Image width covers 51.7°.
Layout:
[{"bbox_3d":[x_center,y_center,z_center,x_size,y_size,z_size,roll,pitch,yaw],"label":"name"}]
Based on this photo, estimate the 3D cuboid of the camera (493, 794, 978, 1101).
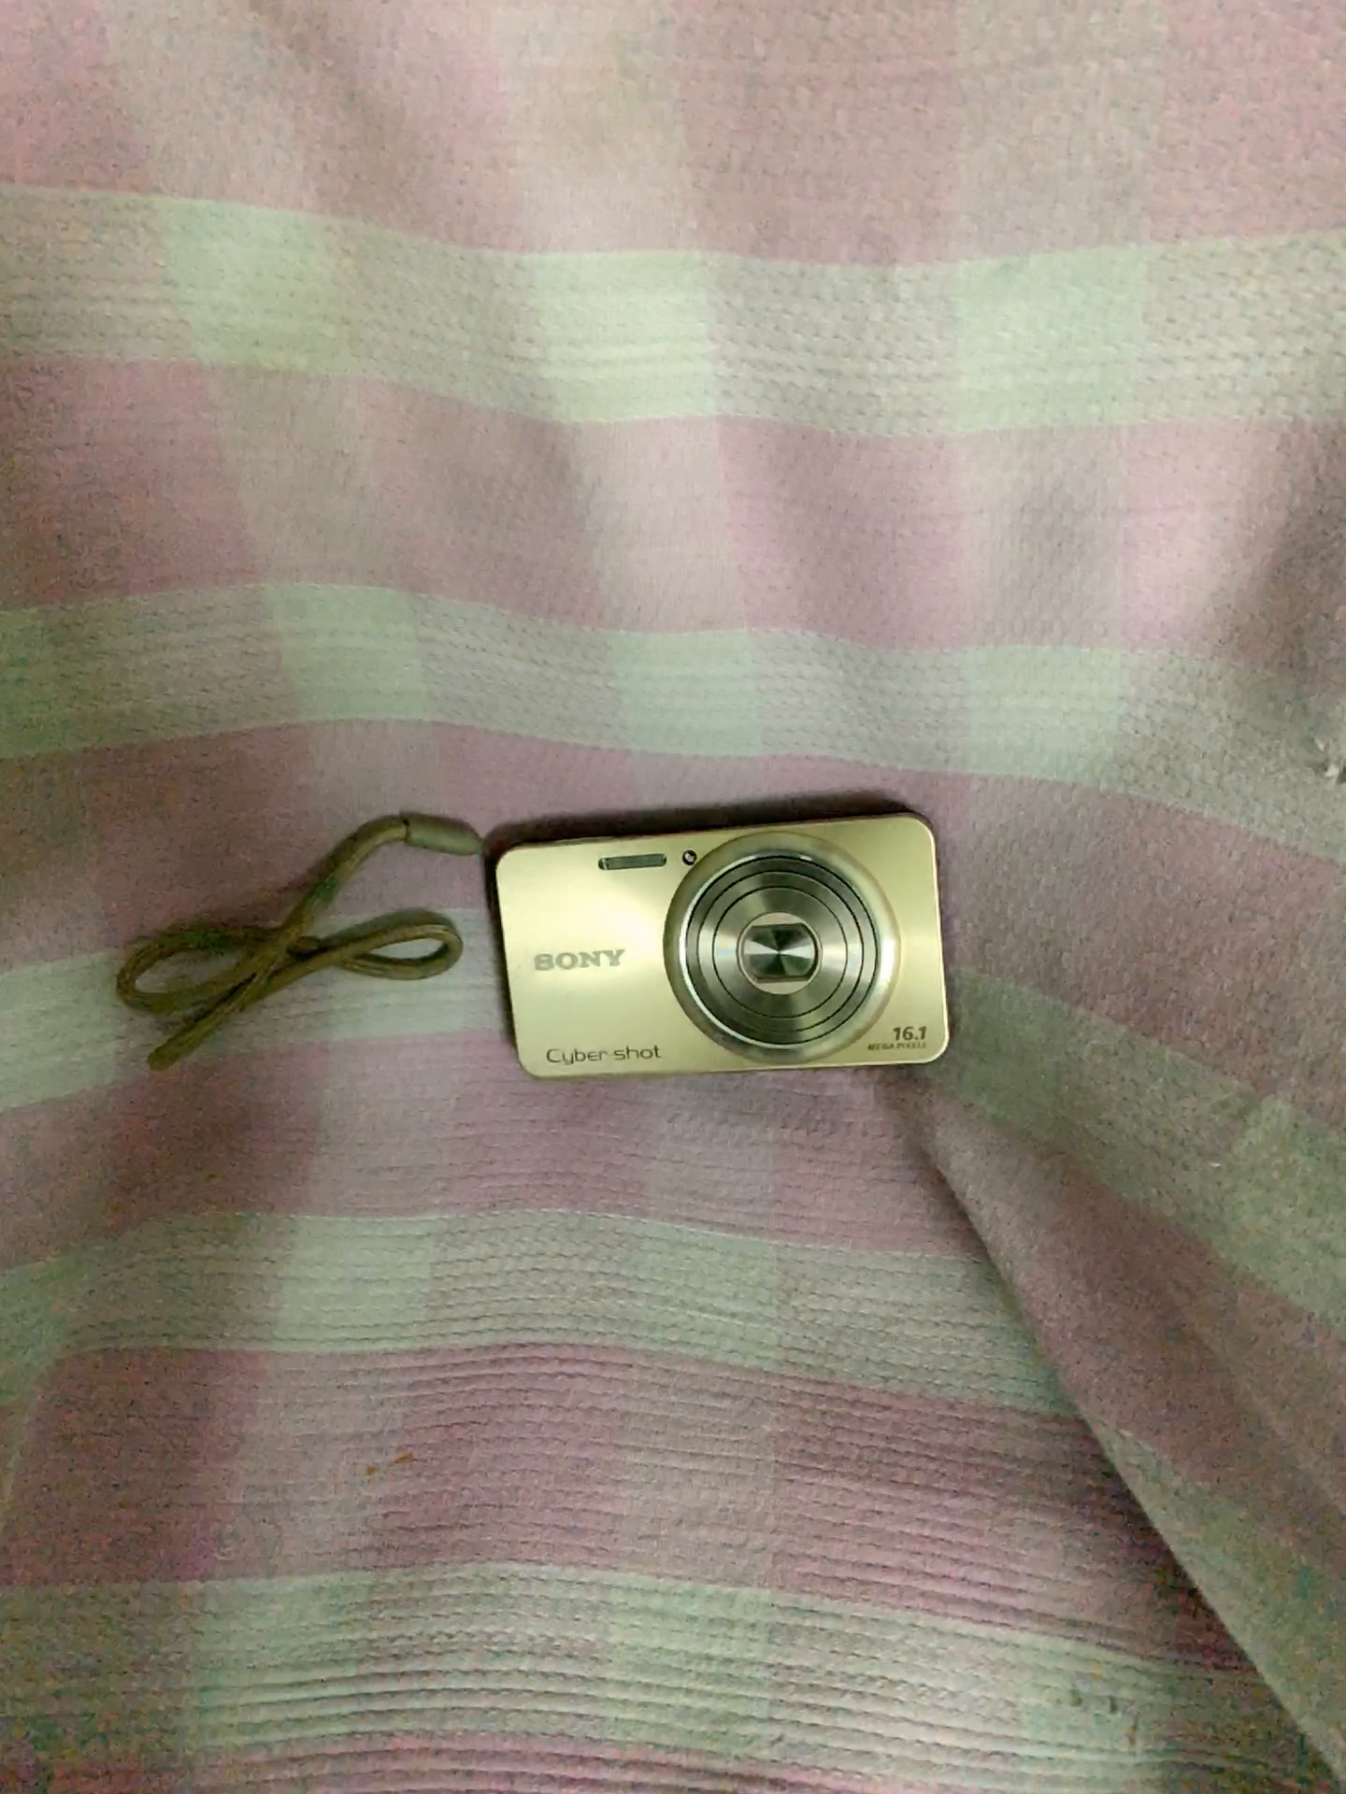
[{"bbox_3d":[0.014,0.010,0.287,0.092,0.027,0.053,-5,97,11],"label":"camera"}]
